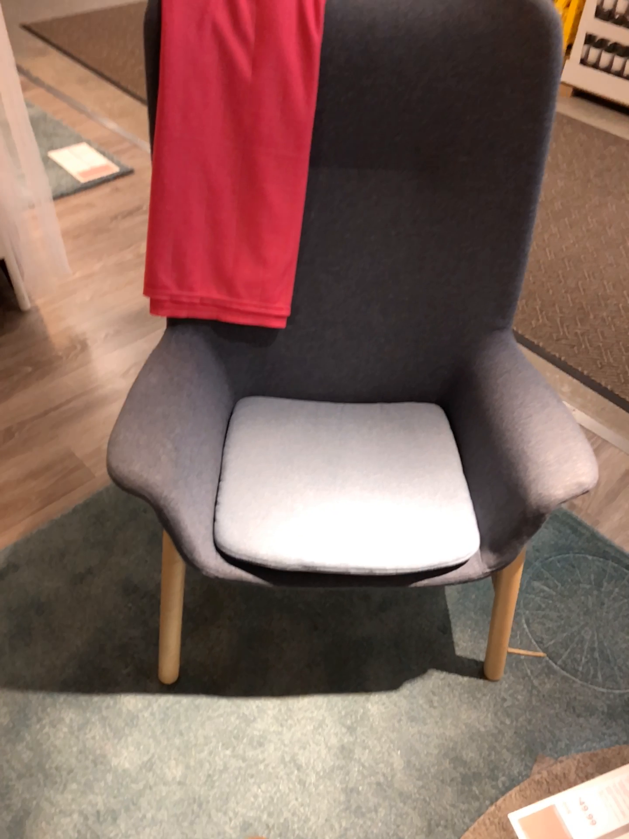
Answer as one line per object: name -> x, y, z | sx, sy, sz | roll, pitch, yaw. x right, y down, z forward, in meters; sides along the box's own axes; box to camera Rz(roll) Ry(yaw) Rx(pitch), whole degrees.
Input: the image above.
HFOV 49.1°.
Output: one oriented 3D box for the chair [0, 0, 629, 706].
chair -> 0.046, -0.091, 1.124 | 0.790, 0.997, 0.702 | 0, 46, -3
